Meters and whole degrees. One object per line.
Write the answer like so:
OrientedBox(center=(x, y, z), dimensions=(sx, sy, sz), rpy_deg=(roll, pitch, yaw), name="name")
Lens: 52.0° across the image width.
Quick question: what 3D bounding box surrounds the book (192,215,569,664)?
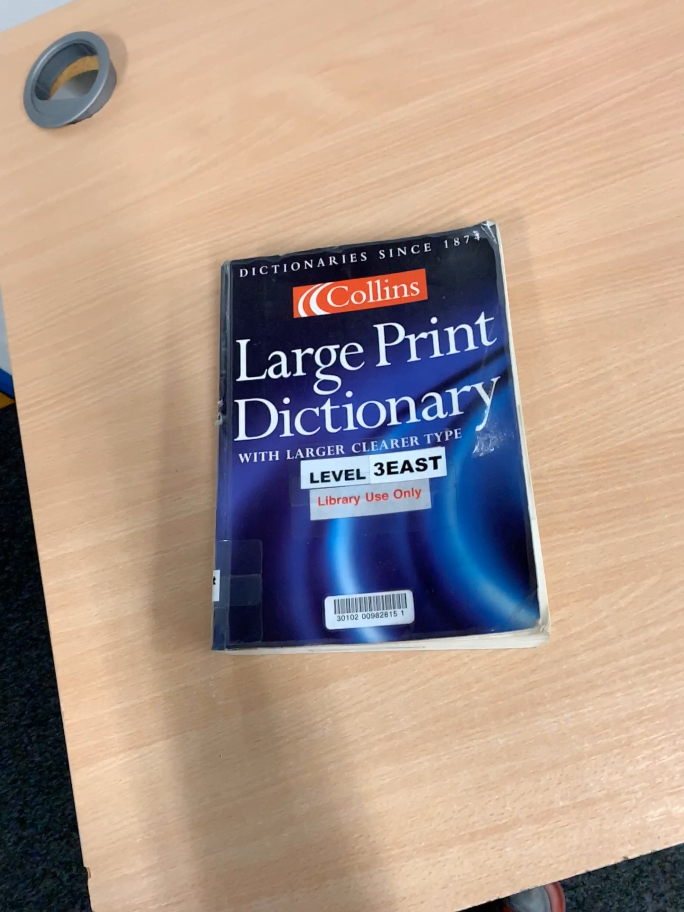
OrientedBox(center=(0.015, -0.009, 0.408), dimensions=(0.188, 0.050, 0.243), rpy_deg=(-5, 70, 10), name="book")
